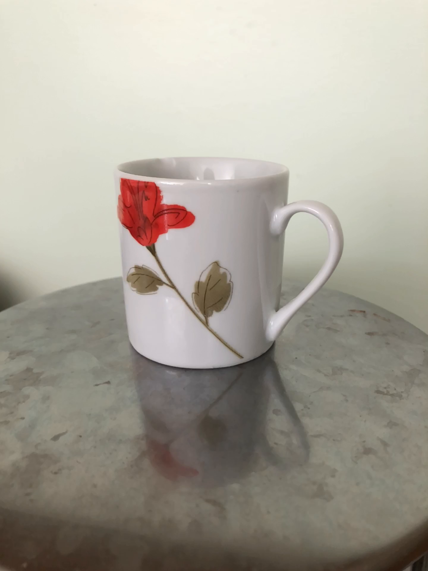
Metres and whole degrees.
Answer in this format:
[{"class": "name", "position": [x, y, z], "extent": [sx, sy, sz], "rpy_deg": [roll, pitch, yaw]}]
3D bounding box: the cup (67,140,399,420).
[{"class": "cup", "position": [0.008, -0.011, 0.153], "extent": [0.080, 0.060, 0.060], "rpy_deg": [11, 23, 24]}]
